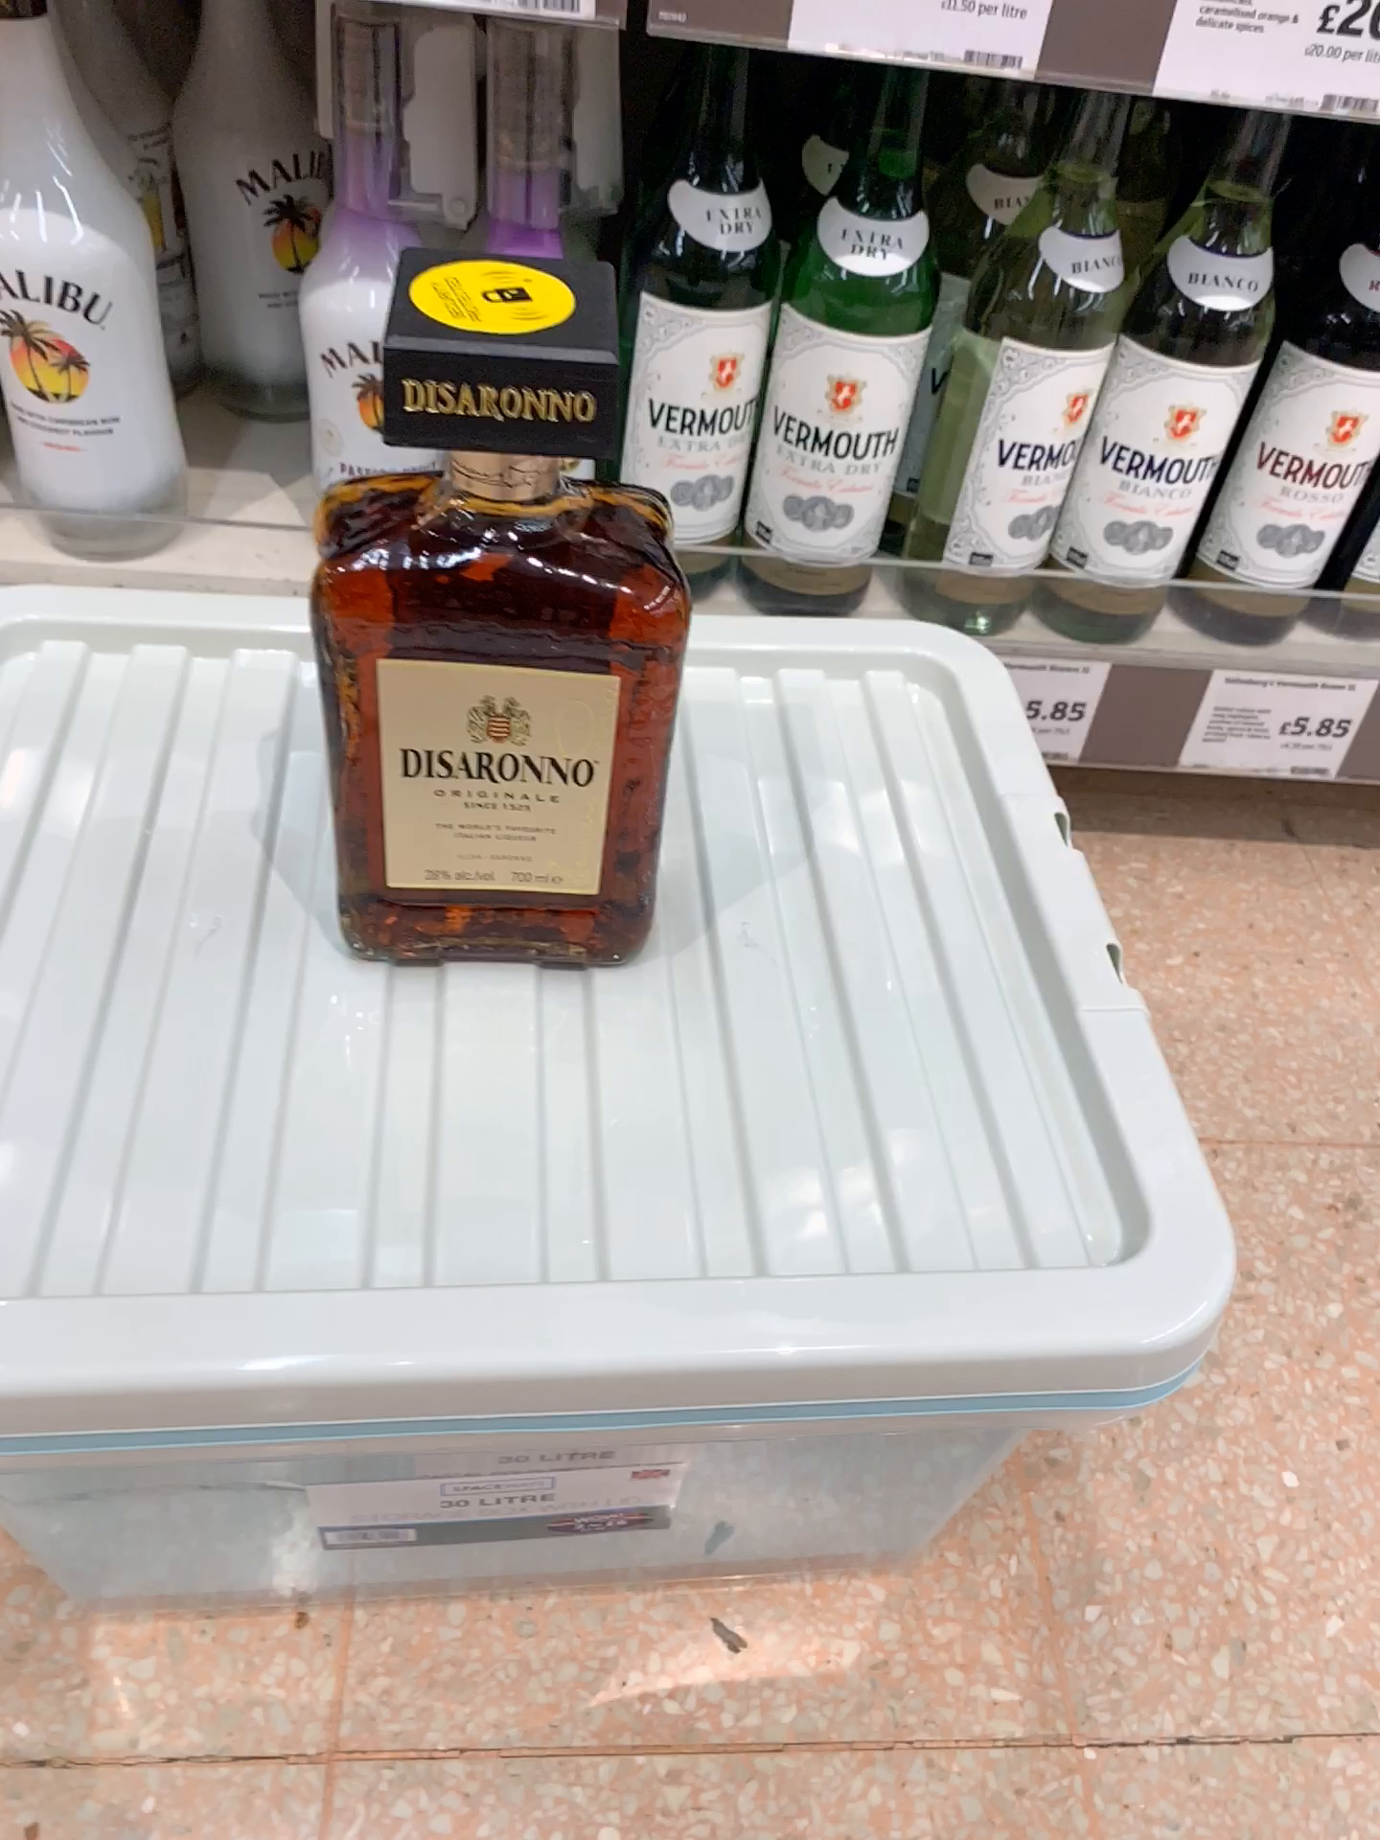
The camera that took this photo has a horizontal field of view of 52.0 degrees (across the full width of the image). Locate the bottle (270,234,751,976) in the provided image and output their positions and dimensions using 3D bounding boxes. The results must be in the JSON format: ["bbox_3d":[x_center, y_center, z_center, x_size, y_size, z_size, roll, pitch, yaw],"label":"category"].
[{"bbox_3d":[-0.055,-0.080,0.426,0.110,0.208,0.071,2,46,-8],"label":"bottle"}]
